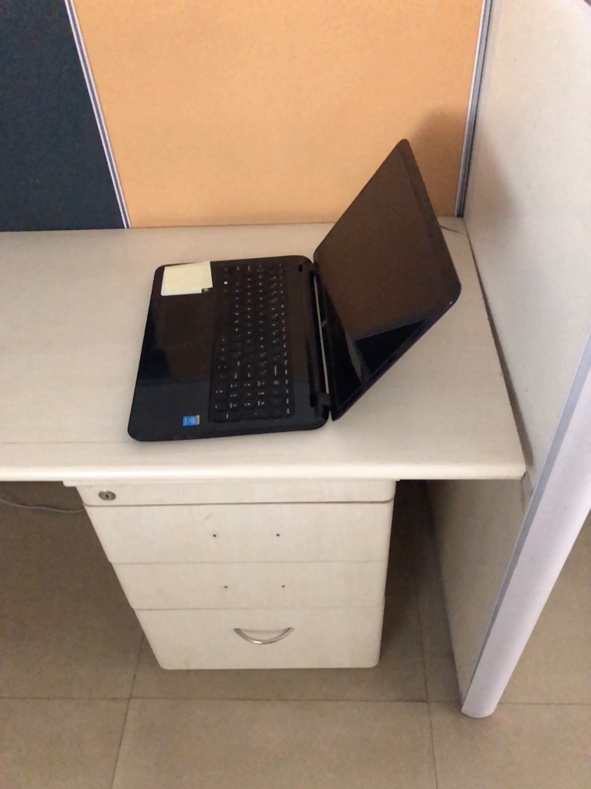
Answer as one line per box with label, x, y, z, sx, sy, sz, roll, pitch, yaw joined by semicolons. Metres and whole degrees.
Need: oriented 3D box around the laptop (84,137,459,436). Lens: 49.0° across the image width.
laptop;-0.029;-0.170;0.926;0.416;0.204;0.393;-3;45;0
